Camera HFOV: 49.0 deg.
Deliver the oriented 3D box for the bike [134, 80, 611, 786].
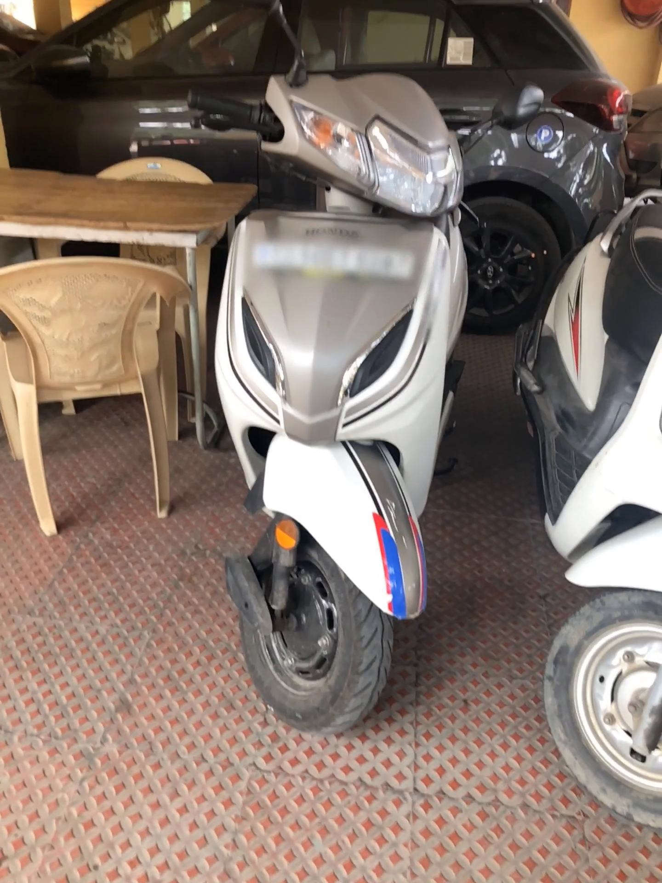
[{"bbox_3d":[0.086,-0.216,1.734,0.626,0.850,1.464,4,35,3],"label":"bike"}]
